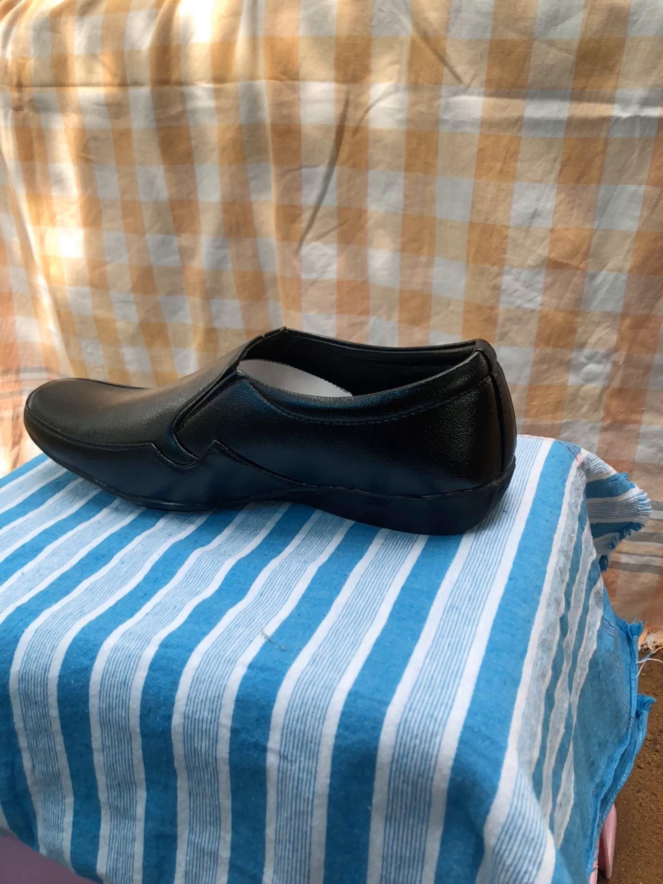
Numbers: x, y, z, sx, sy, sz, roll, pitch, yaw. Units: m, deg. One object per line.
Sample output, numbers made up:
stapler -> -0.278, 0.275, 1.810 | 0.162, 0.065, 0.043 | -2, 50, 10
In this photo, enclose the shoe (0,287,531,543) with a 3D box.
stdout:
shoe -> -0.039, -0.027, 0.440 | 0.300, 0.109, 0.101 | 3, 25, 15
